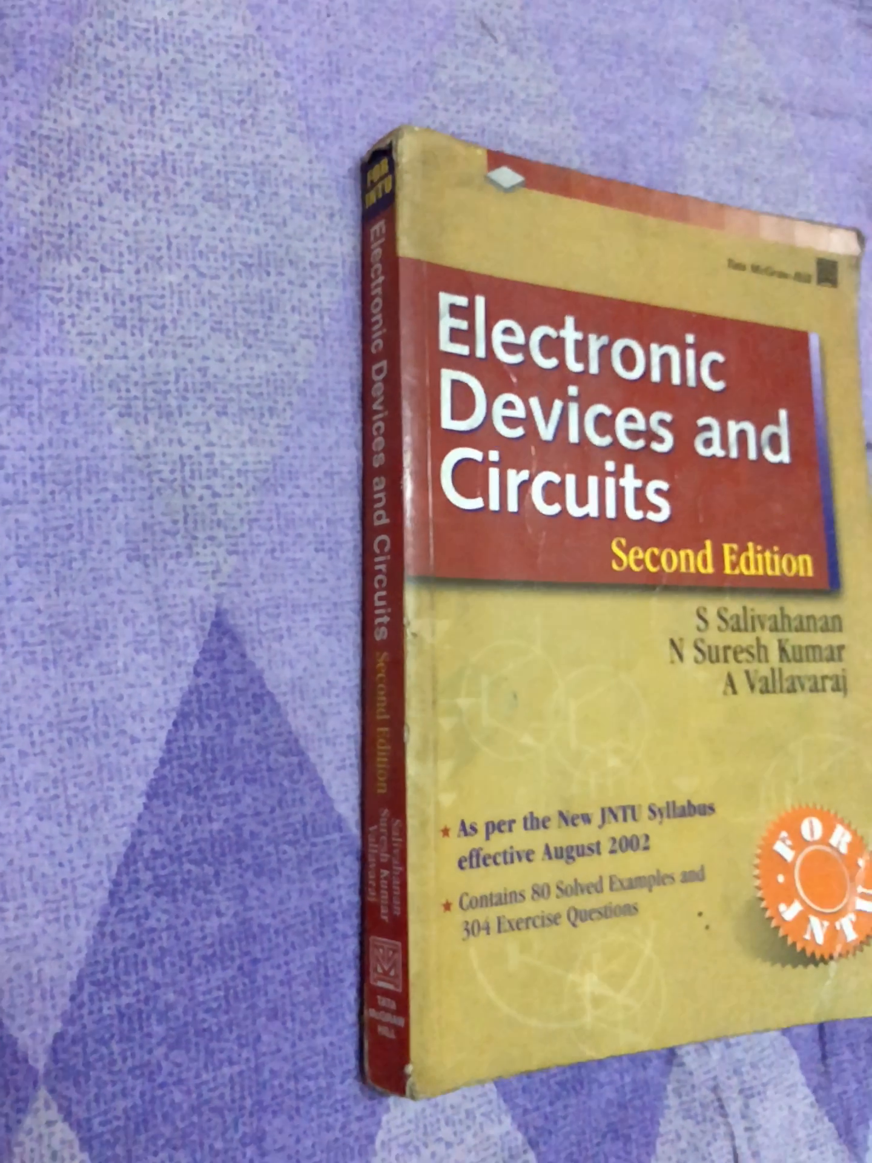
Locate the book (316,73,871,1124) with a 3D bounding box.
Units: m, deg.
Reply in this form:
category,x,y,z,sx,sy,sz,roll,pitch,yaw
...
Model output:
category,x,y,z,sx,sy,sz,roll,pitch,yaw
book,0.051,0.001,0.273,0.160,0.040,0.240,1,83,-23
